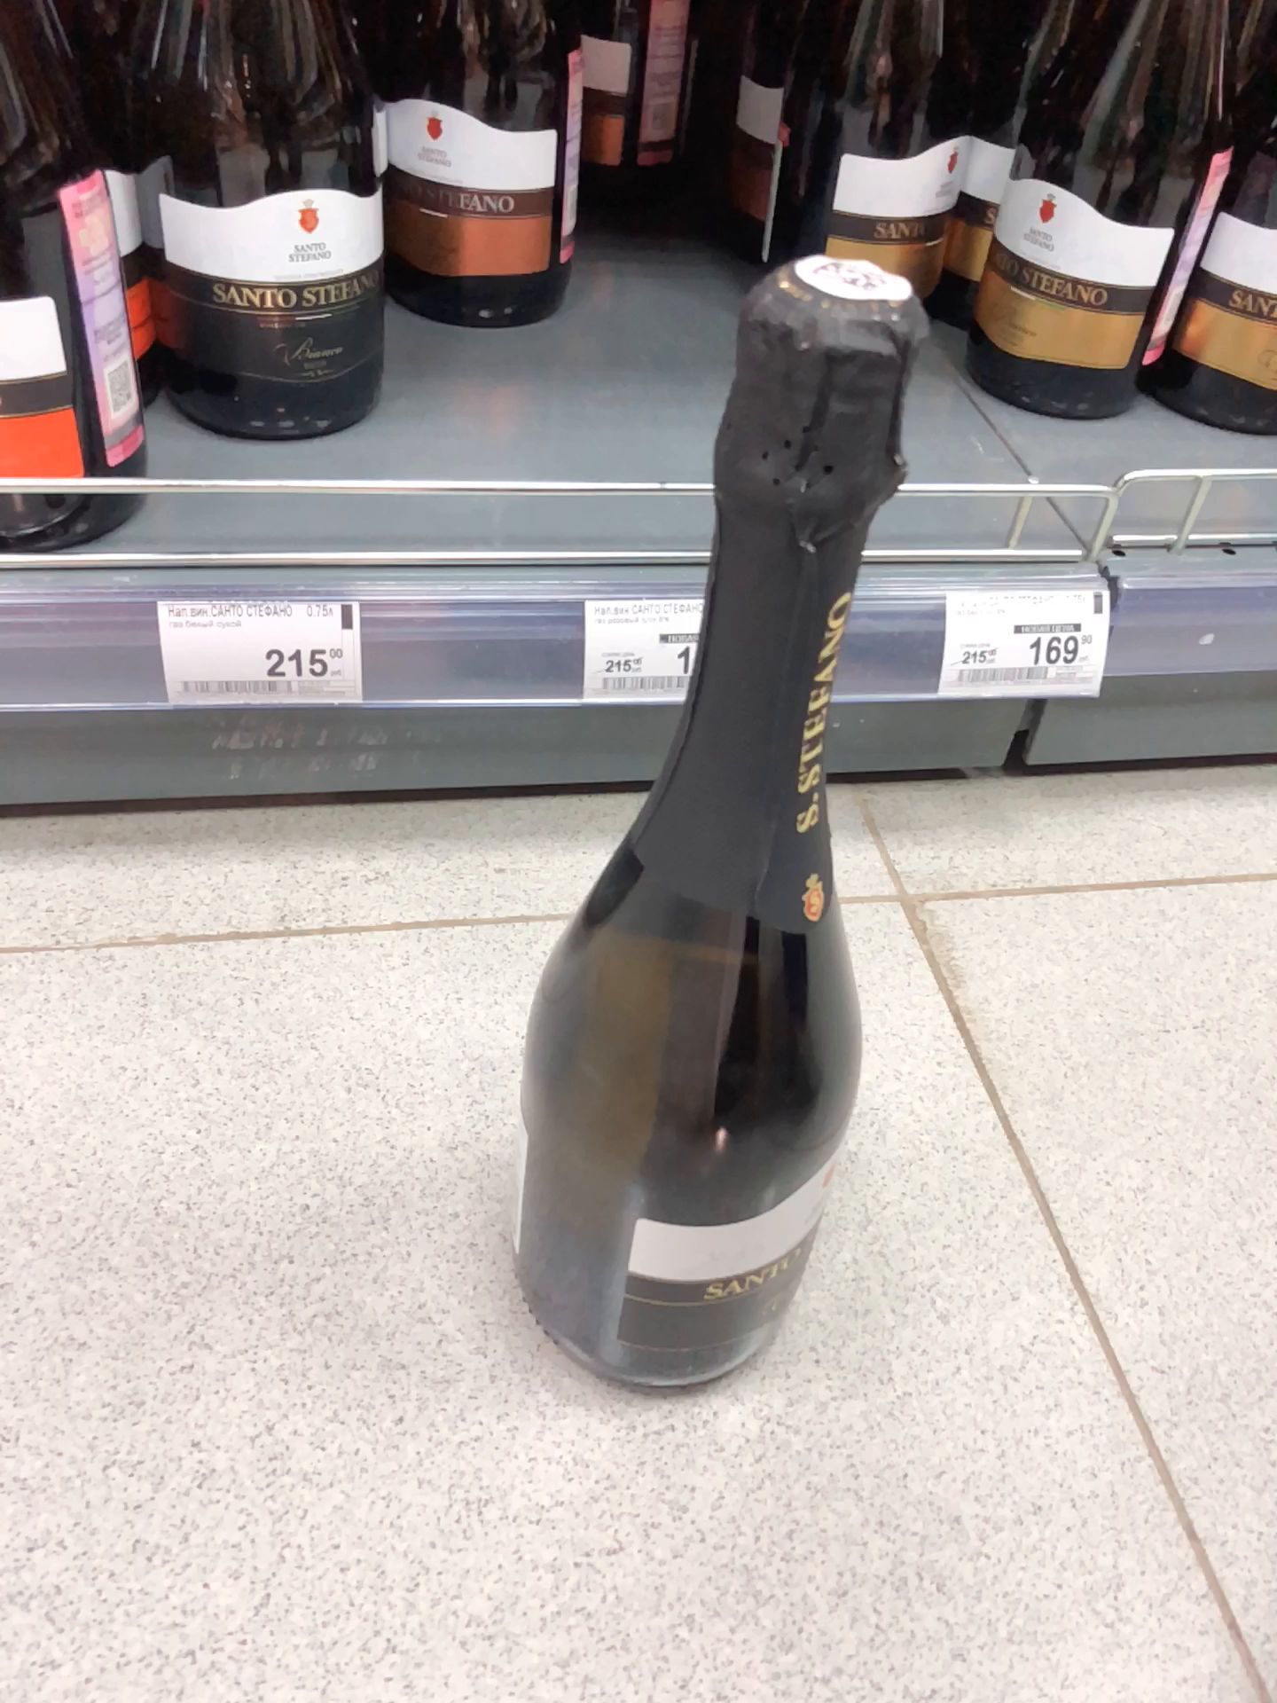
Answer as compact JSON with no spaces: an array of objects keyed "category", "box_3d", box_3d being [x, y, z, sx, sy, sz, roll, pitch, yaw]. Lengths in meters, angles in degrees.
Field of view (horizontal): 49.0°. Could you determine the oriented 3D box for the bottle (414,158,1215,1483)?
[{"category":"bottle","box_3d":[0.021,0.011,0.345,0.100,0.298,0.110,30,45,25]}]
